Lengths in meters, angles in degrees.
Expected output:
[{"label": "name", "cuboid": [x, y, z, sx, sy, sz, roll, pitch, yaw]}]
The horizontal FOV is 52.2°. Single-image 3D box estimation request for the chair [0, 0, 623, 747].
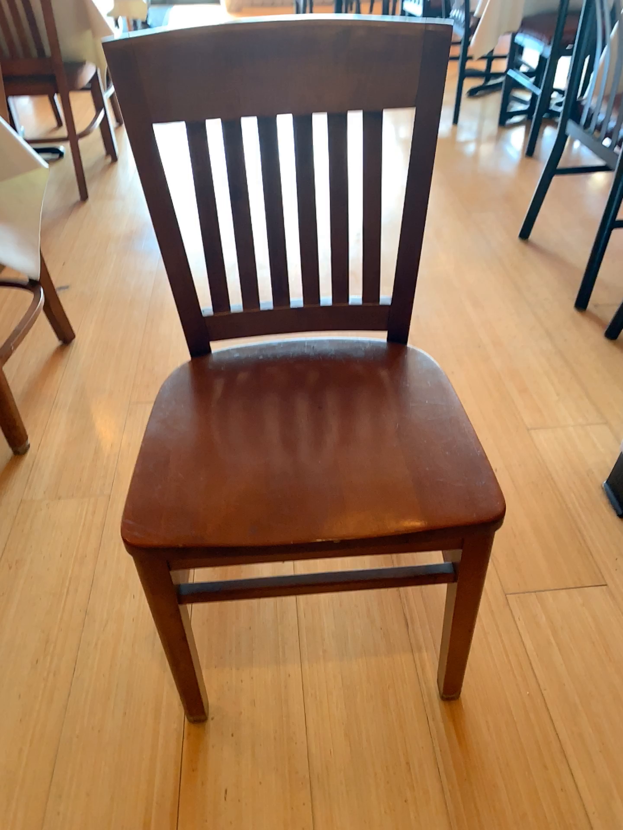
[{"label": "chair", "cuboid": [0.000, -0.034, 0.917, 0.540, 0.875, 0.573, -4, 40, -2]}]
